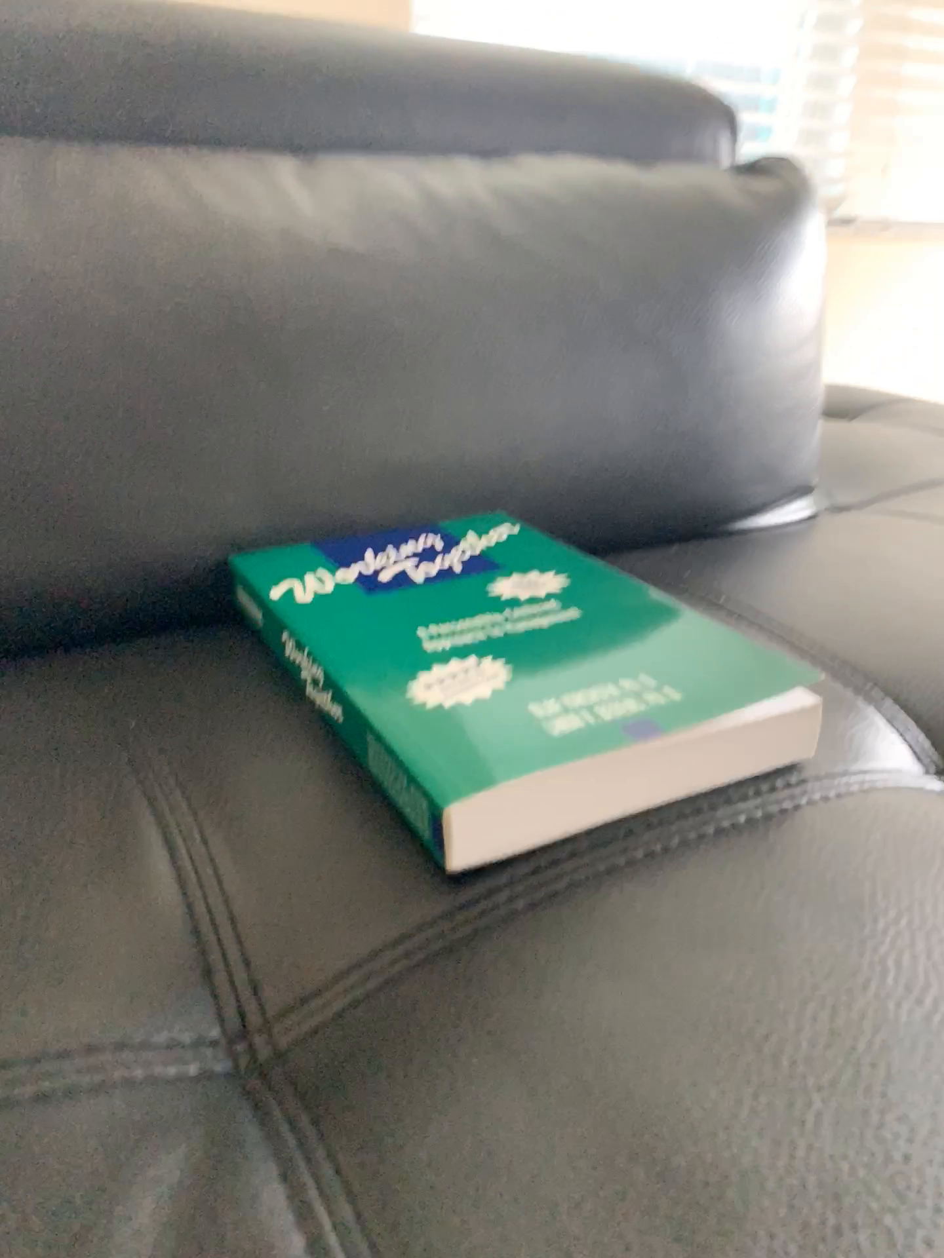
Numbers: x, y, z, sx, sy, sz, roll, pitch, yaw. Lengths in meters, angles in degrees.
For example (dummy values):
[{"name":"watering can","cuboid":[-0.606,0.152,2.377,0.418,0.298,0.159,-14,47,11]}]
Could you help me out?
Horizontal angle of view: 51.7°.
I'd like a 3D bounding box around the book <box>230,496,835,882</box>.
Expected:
[{"name":"book","cuboid":[0.005,0.001,0.374,0.137,0.033,0.217,-10,27,-26]}]
